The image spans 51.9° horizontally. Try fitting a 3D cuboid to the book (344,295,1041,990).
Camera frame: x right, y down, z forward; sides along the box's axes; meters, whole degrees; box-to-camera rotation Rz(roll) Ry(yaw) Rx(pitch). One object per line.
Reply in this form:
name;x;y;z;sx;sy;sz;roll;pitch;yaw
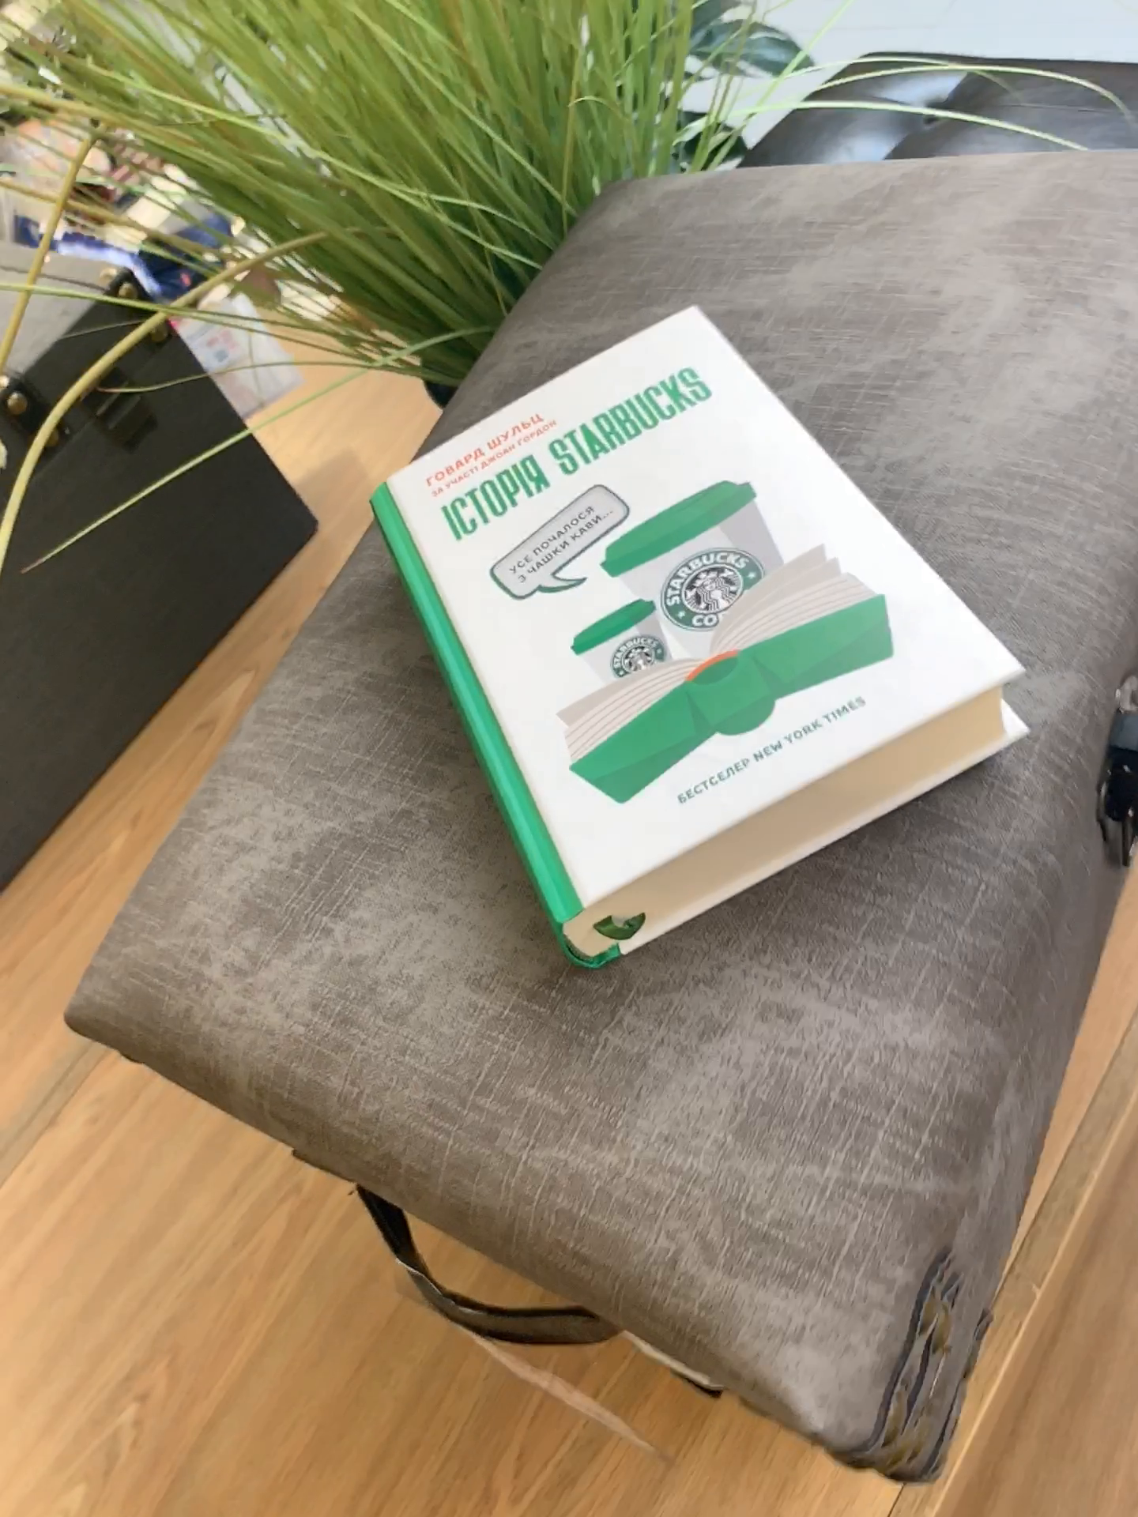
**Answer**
book;0.025;-0.059;0.418;0.160;0.040;0.236;-29;50;3
